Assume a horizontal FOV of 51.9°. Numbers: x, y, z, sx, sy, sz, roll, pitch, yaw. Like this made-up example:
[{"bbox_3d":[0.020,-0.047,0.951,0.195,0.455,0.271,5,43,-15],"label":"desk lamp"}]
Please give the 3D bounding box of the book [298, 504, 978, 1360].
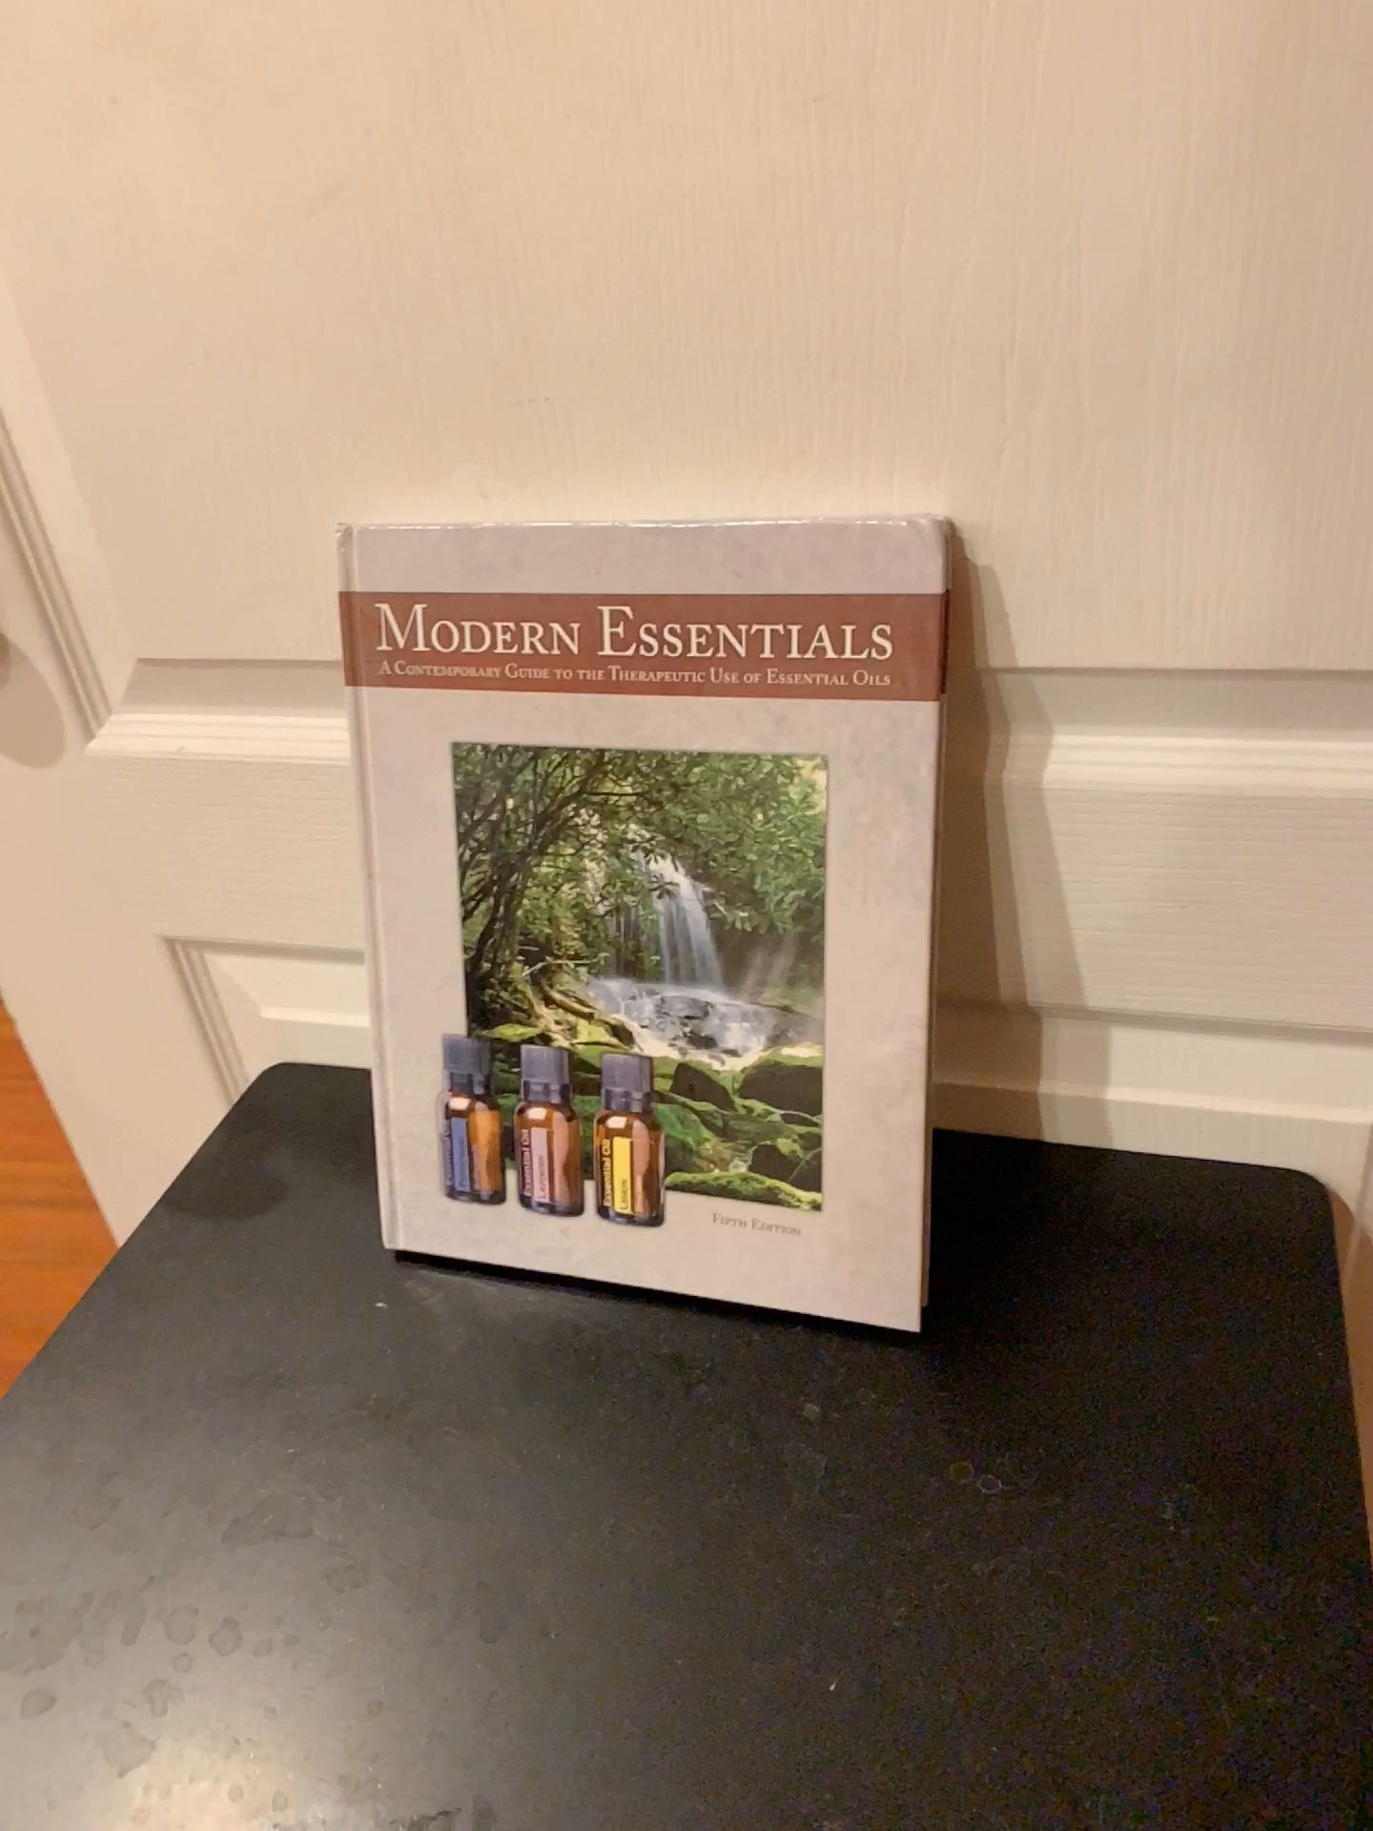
[{"bbox_3d":[-0.019,0.005,0.507,0.230,0.289,0.030,4,16,18],"label":"book"}]
